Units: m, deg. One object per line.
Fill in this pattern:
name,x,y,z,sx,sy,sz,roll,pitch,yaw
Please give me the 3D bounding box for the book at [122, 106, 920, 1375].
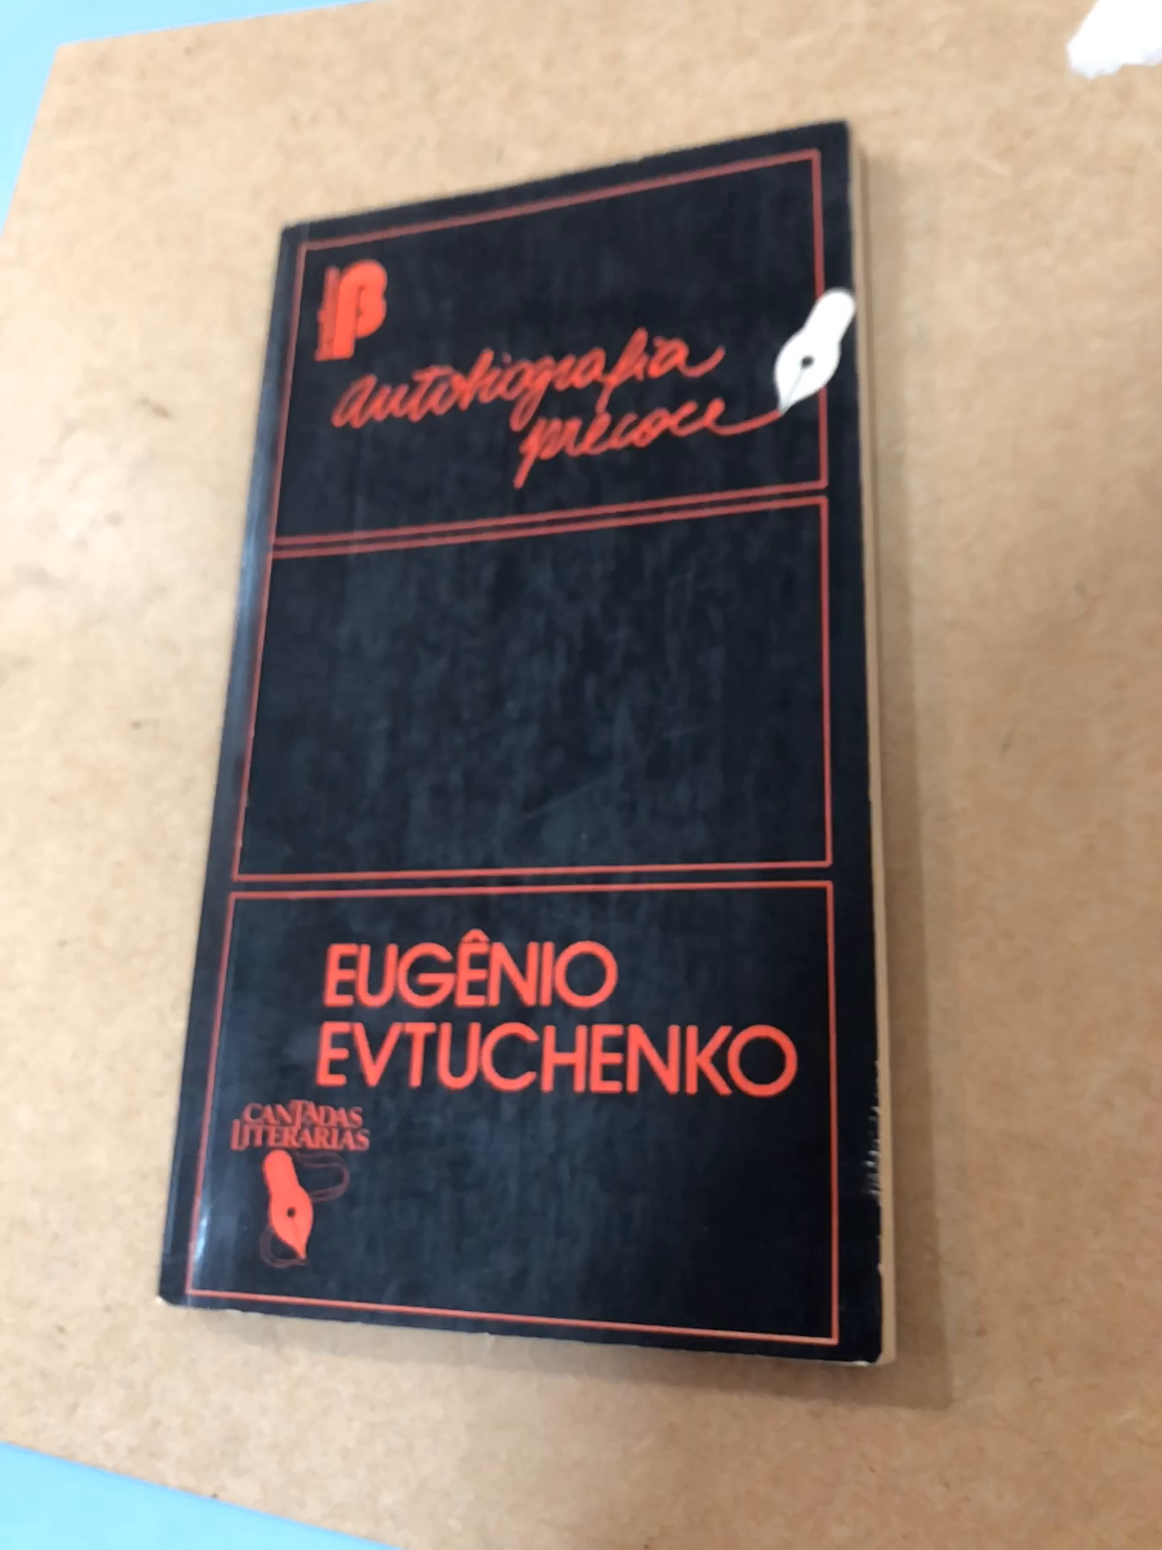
book,-0.007,-0.013,0.211,0.114,0.016,0.190,-3,73,18
